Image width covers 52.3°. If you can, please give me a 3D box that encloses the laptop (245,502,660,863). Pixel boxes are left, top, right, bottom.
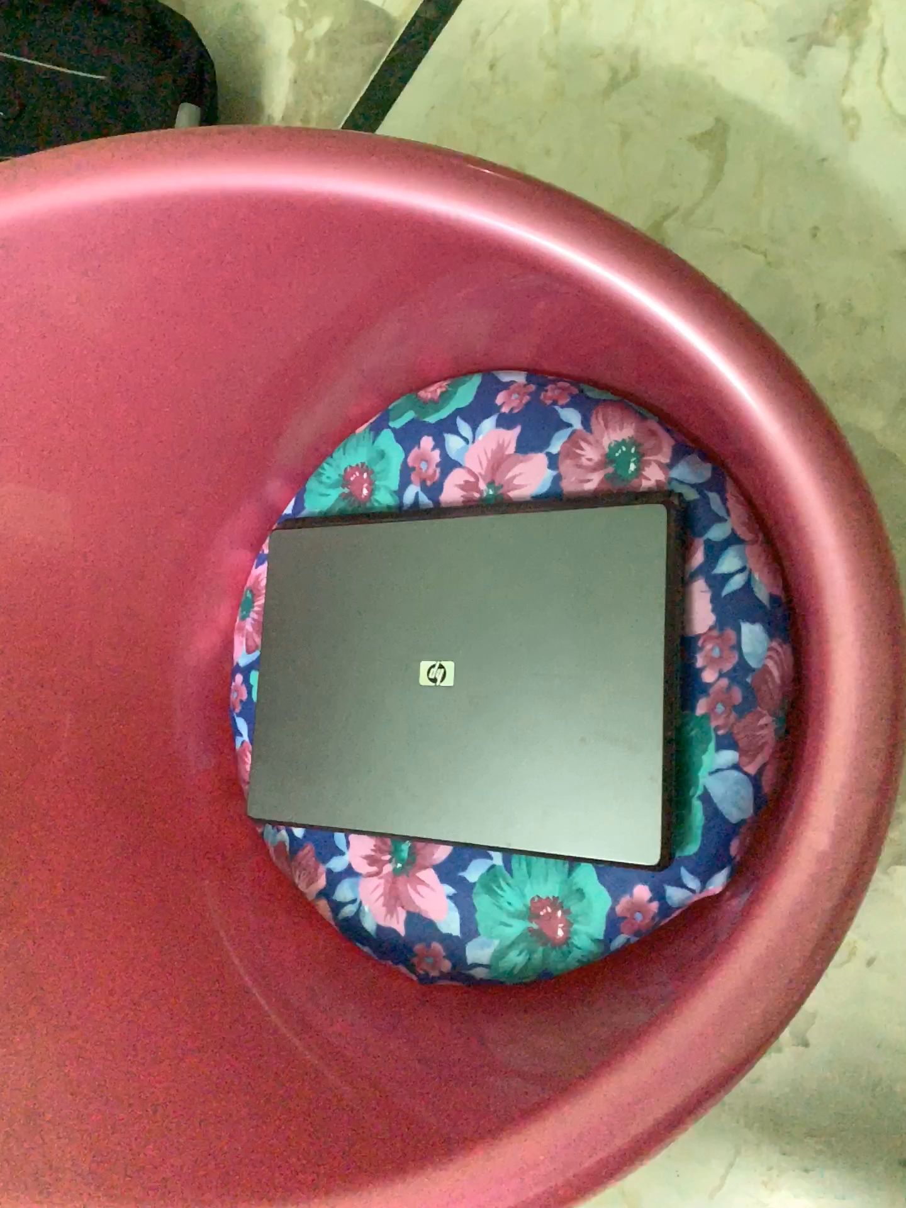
[{"bbox_3d":[-0.012,0.048,0.635,0.304,0.003,0.222,-1,82,25],"label":"laptop"}]
